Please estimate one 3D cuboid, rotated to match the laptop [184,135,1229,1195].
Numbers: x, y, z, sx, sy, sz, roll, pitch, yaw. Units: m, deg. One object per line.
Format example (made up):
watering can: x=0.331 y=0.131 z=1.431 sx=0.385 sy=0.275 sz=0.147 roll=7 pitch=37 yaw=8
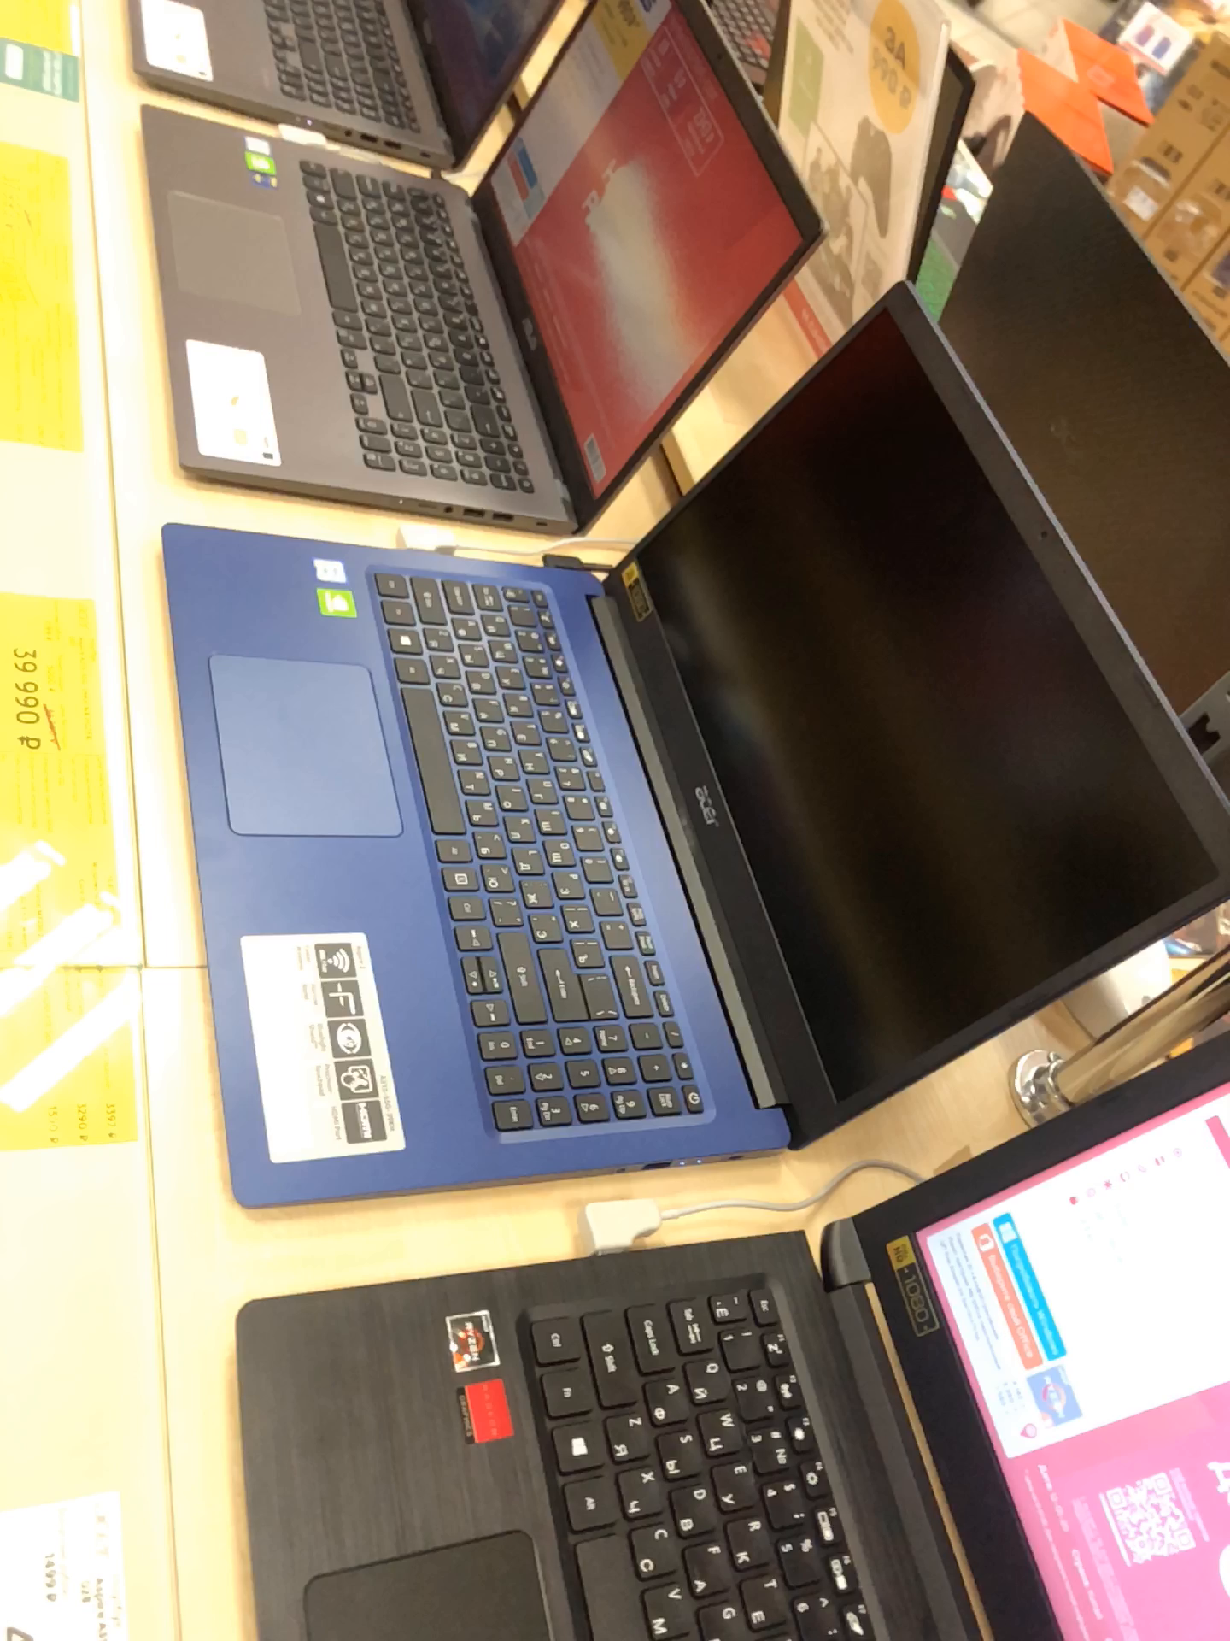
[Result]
laptop: x=0.014 y=-0.066 z=0.595 sx=0.327 sy=0.221 sz=0.358 roll=2 pitch=52 yaw=-27
